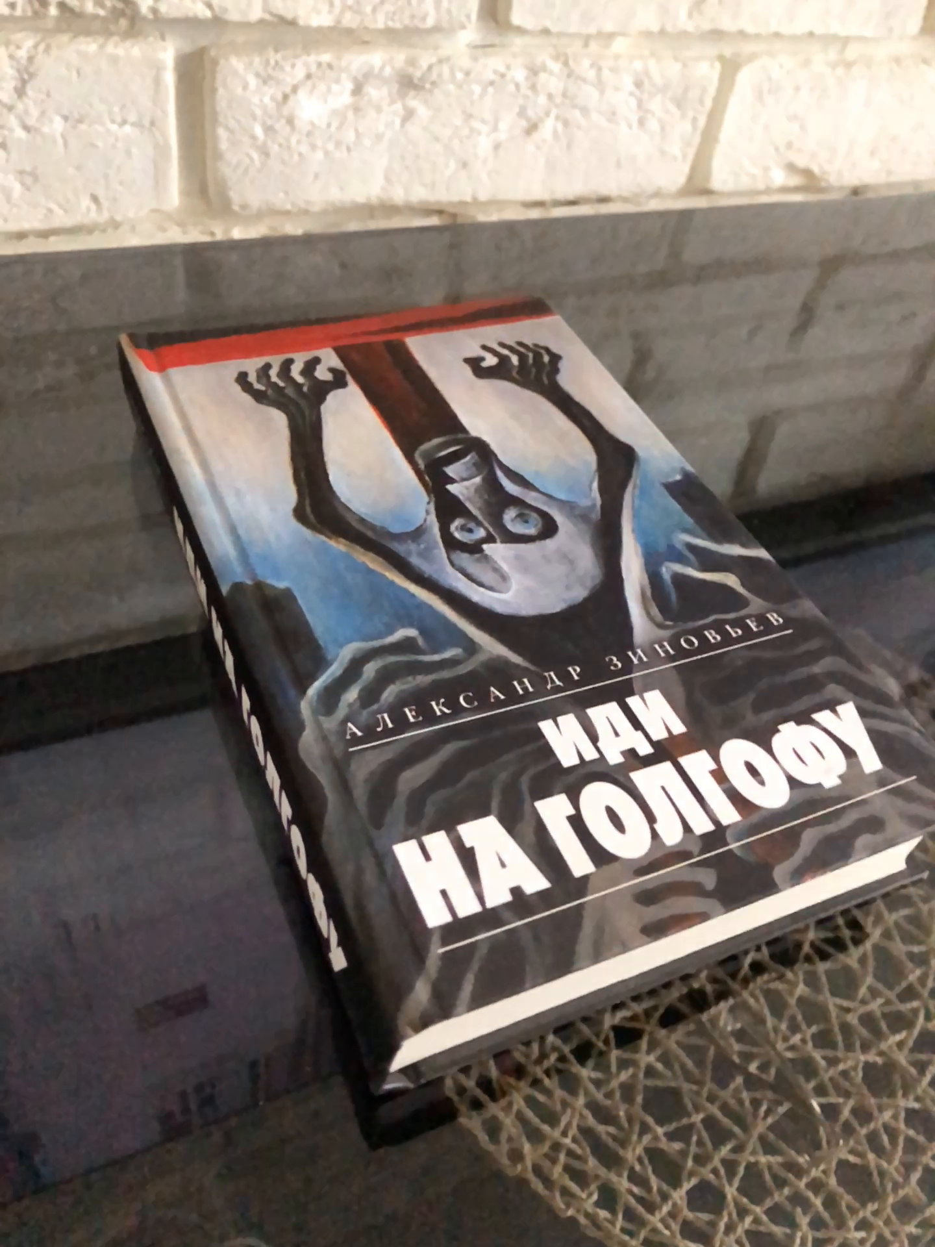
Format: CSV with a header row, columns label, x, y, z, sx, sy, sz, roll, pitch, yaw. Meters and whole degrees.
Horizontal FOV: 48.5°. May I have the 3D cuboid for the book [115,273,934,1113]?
label,x,y,z,sx,sy,sz,roll,pitch,yaw
book,0.010,-0.015,0.244,0.140,0.030,0.201,-12,49,-22
